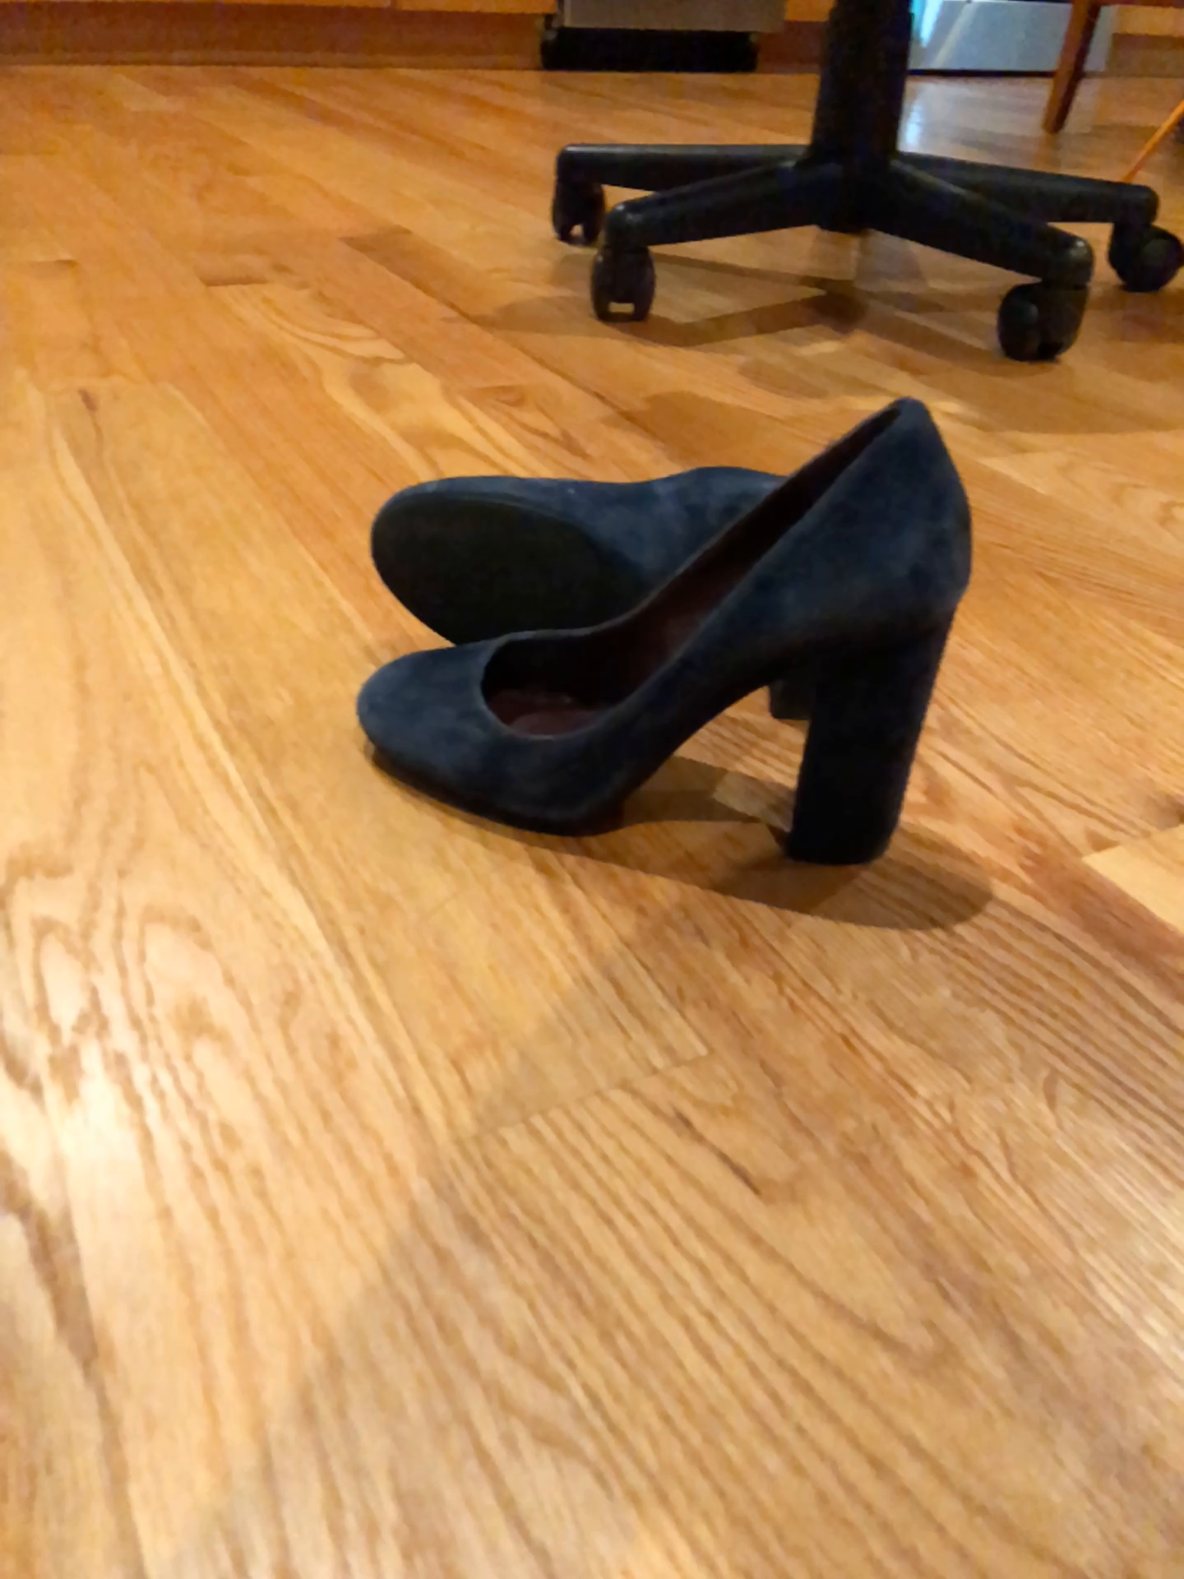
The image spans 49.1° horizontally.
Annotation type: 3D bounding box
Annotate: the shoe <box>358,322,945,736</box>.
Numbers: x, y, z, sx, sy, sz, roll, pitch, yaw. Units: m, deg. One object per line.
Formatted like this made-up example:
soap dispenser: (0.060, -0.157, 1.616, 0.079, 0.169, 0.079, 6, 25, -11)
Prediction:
shoe: (0.029, -0.112, 0.530, 0.205, 0.089, 0.140, 8, 41, 6)

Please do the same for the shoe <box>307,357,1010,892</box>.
shoe: (0.019, -0.057, 0.429, 0.195, 0.128, 0.090, 7, 34, 6)
